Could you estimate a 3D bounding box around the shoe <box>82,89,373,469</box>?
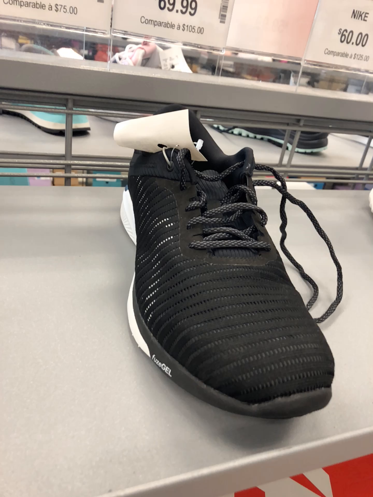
[{"bbox_3d":[0.004,-0.023,0.315,0.120,0.119,0.302,-2,31,-22],"label":"shoe"}]
